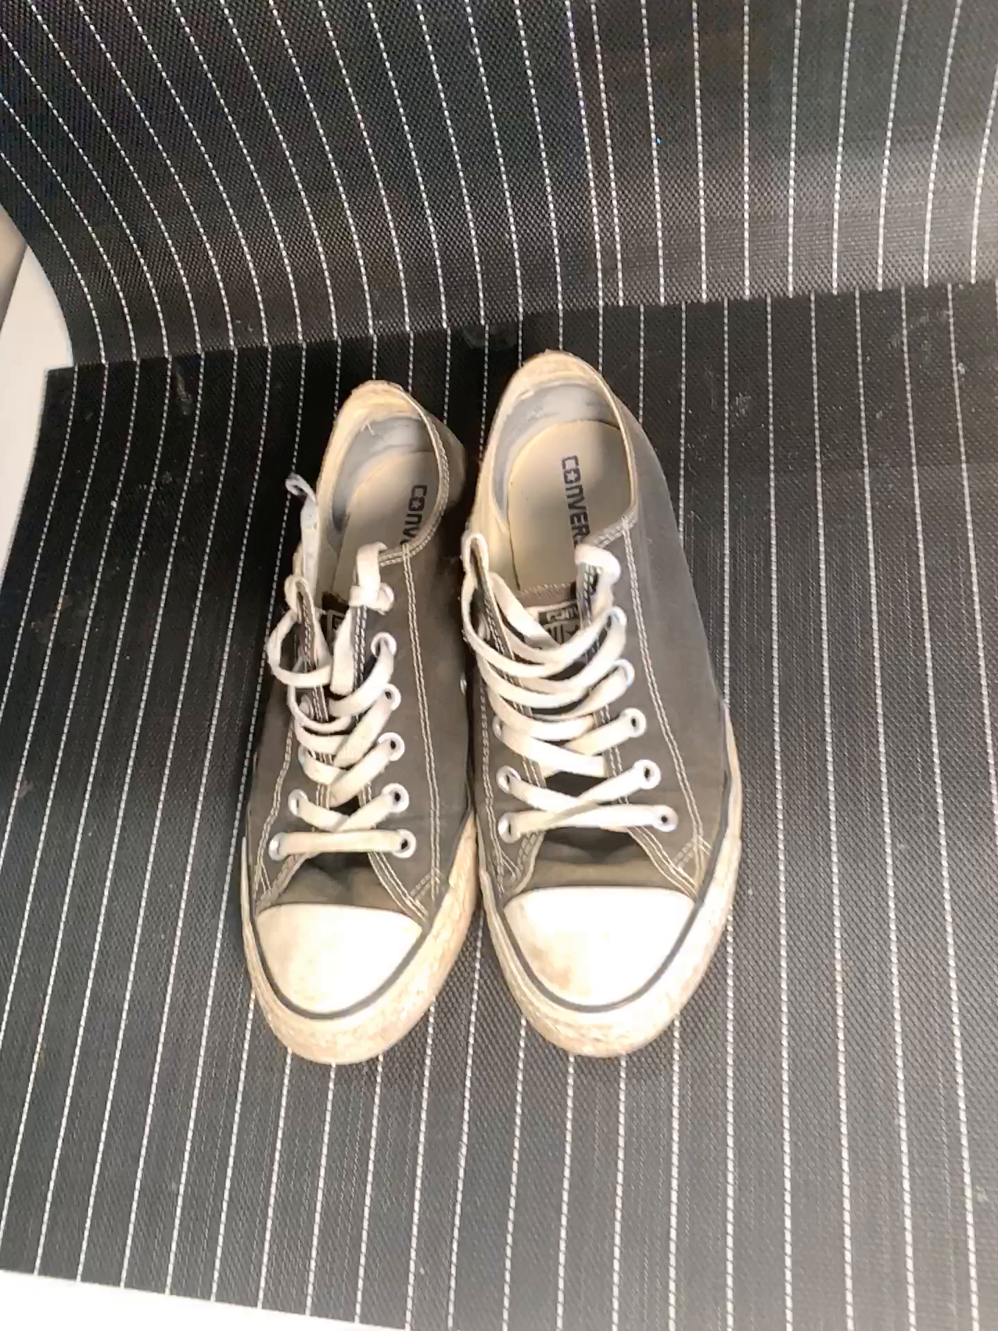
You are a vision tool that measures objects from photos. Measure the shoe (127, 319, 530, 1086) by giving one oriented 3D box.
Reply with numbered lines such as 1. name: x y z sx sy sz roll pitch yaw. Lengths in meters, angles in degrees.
1. shoe: -0.057 0.009 0.430 0.110 0.080 0.300 -1 70 13

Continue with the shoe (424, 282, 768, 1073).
1. shoe: 0.035 0.002 0.415 0.110 0.080 0.300 -6 69 12
